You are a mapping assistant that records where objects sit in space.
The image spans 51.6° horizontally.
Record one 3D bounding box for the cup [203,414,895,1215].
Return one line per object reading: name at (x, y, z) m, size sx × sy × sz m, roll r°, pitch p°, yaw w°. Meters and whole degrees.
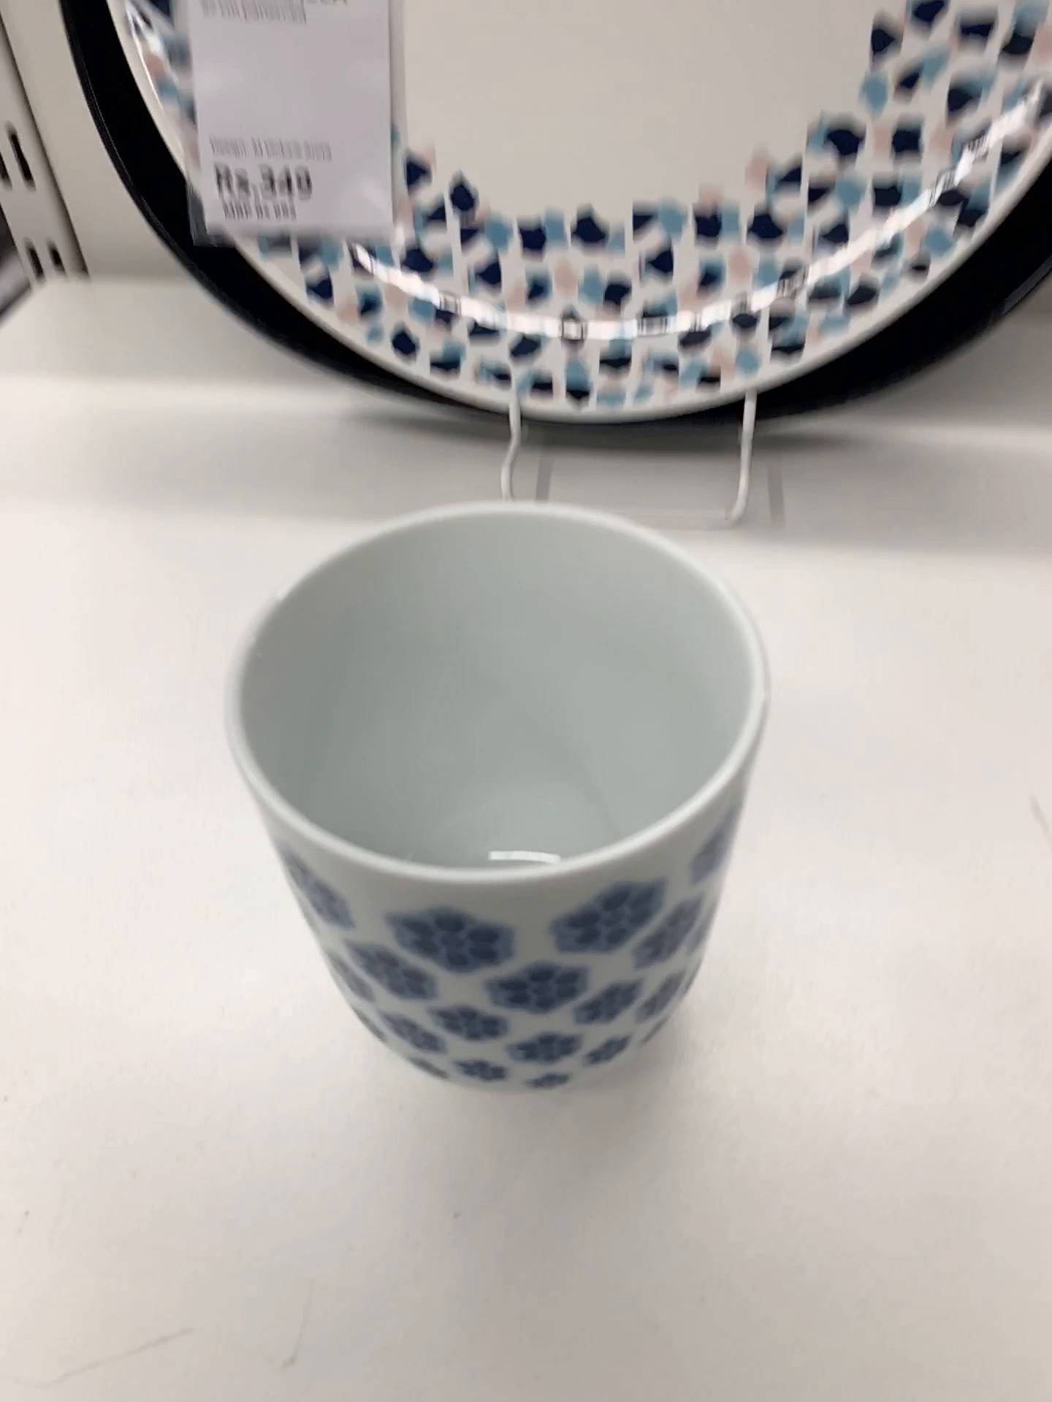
cup at (-0.002, 0.016, 0.174) m, size 0.070 × 0.080 × 0.080 m, roll -15°, pitch 46°, yaw -13°
